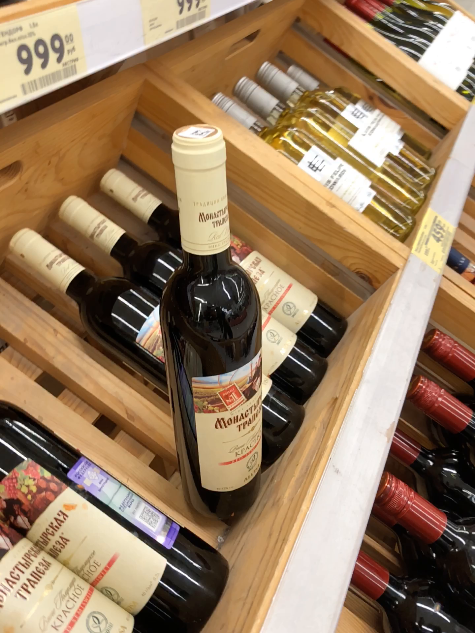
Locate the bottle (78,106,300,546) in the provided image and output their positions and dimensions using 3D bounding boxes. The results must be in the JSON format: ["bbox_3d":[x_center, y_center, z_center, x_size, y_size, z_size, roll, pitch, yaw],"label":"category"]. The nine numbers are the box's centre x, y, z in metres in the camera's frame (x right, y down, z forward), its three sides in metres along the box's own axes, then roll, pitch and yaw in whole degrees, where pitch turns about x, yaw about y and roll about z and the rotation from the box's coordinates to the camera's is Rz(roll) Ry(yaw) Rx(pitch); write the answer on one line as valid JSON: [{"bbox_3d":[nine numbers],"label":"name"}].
[{"bbox_3d":[-0.018,0.030,0.365,0.080,0.308,0.080,-2,40,1],"label":"bottle"}]
